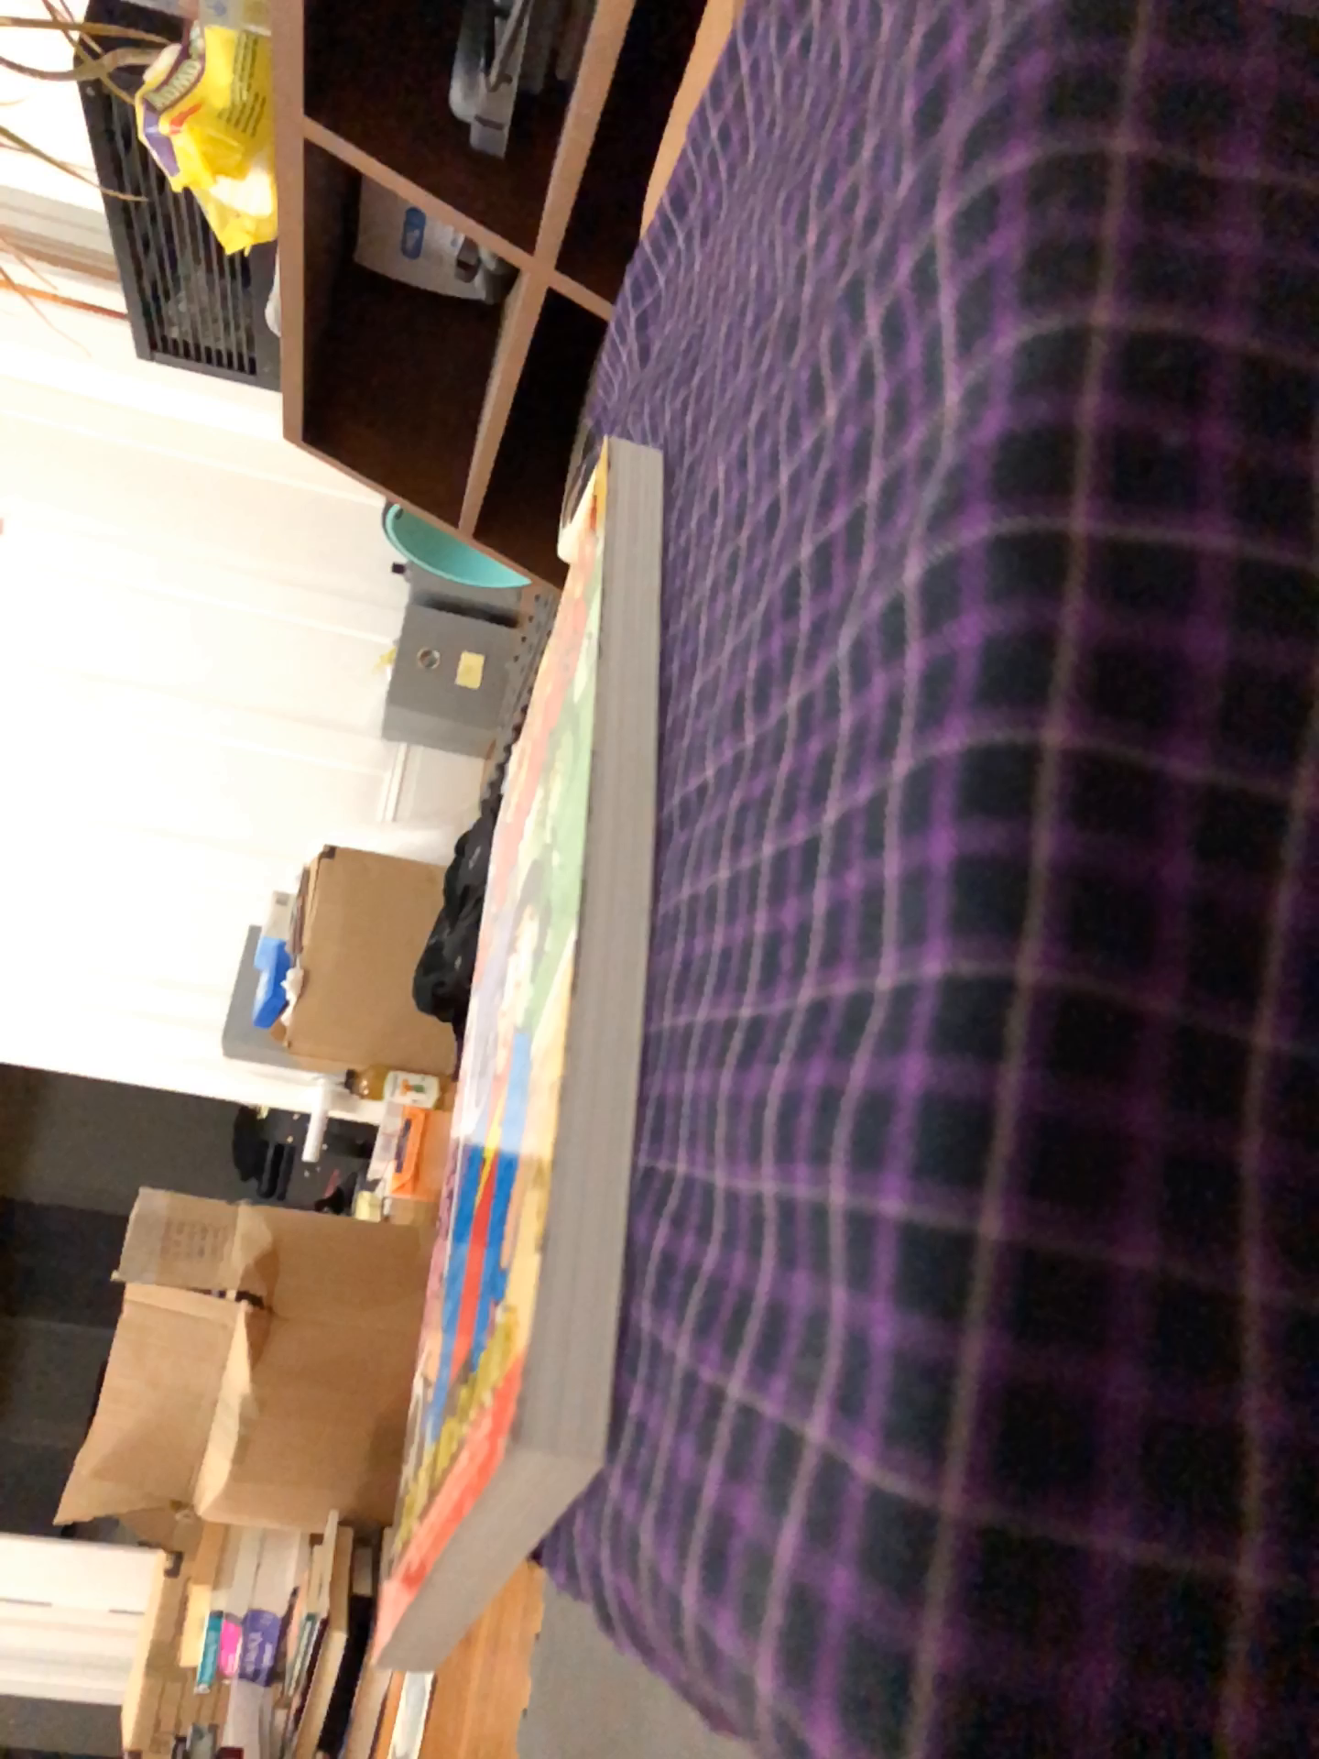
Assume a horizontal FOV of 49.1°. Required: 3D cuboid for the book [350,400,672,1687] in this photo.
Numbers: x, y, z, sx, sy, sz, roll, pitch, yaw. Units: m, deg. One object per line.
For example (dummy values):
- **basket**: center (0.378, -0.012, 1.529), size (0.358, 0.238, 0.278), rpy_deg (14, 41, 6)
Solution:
- **book**: center (-0.034, 0.032, 0.359), size (0.170, 0.020, 0.271), rpy_deg (115, 163, -49)
